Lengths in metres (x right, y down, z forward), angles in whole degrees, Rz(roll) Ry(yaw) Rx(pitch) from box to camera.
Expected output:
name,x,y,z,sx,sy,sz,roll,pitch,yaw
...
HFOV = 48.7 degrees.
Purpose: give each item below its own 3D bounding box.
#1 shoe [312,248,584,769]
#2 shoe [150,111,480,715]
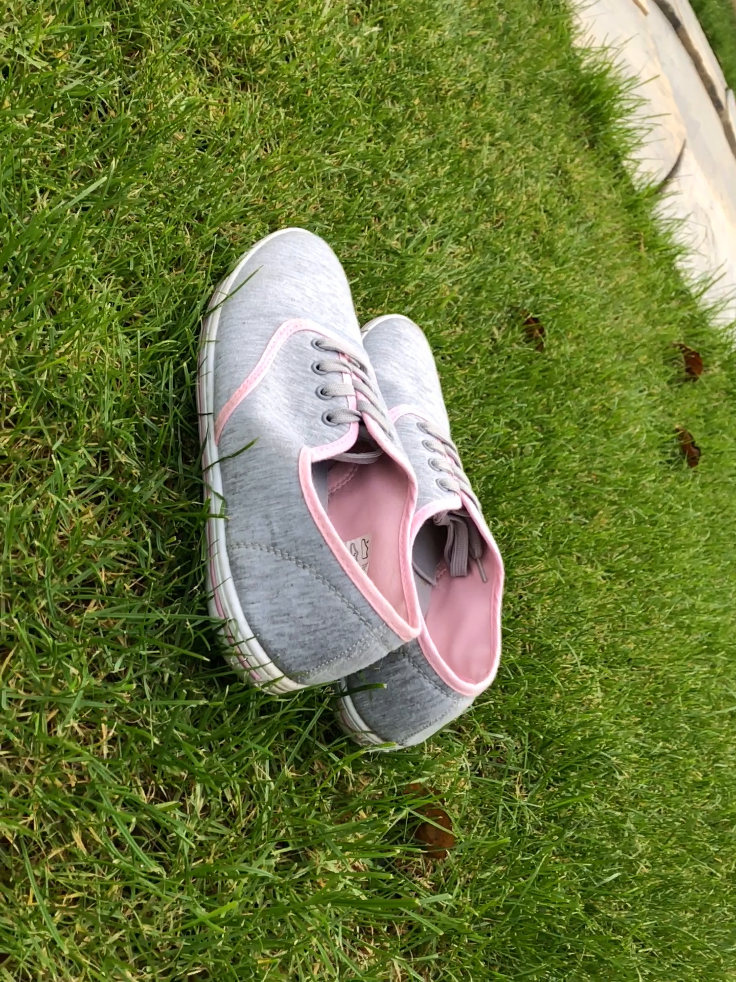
name,x,y,z,sx,sy,sz,roll,pitch,yaw
shoe,0.044,0.009,0.457,0.100,0.089,0.261,30,51,-41
shoe,-0.017,-0.039,0.393,0.100,0.089,0.261,30,51,-41
